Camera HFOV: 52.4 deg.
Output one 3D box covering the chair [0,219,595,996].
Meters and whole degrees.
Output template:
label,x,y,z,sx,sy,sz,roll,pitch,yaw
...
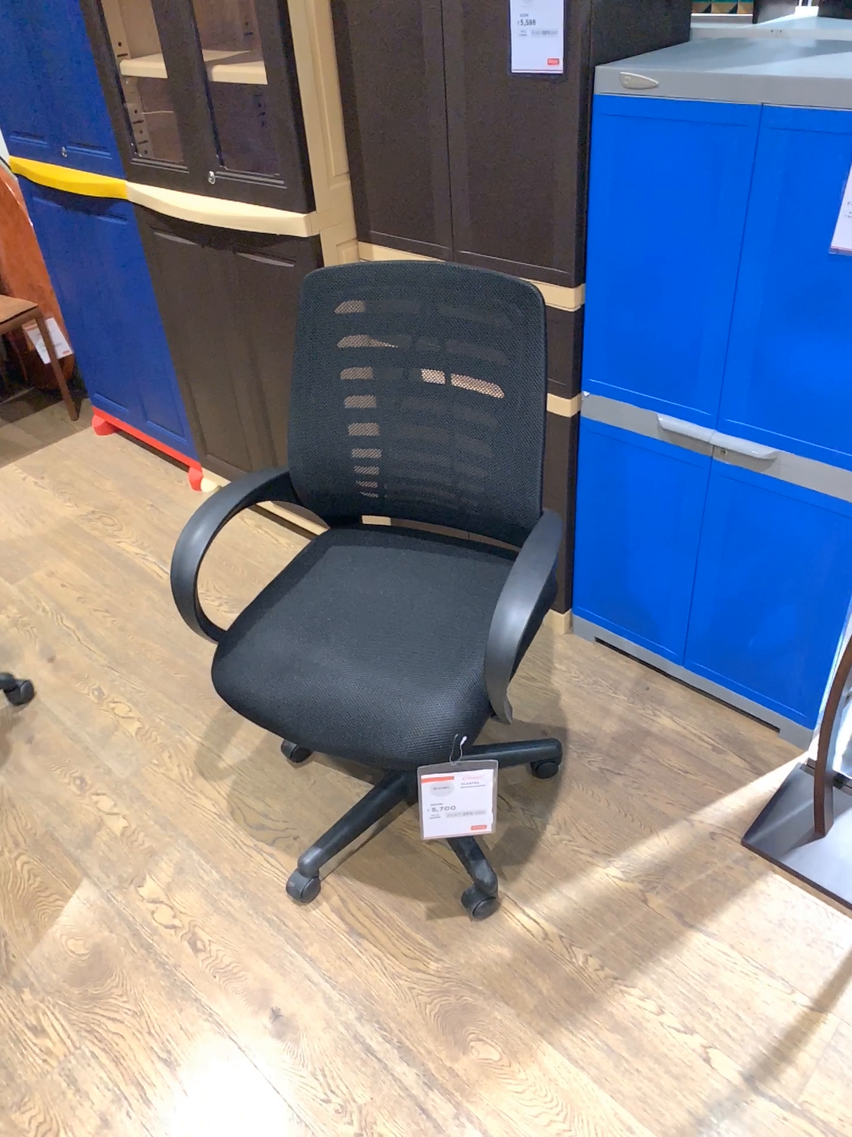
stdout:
label,x,y,z,sx,sy,sz,roll,pitch,yaw
chair,-0.125,0.047,1.411,0.601,0.996,0.601,13,40,23
